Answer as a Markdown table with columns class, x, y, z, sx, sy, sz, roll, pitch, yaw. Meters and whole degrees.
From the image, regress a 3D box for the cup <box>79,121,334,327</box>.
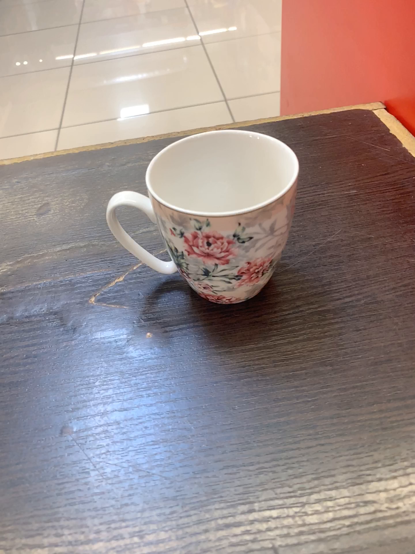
| class | x | y | z | sx | sy | sz | roll | pitch | yaw |
| --- | --- | --- | --- | --- | --- | --- | --- | --- | --- |
| cup | 0.001 | -0.029 | 0.237 | 0.110 | 0.070 | 0.080 | -4 | 46 | 4 |
